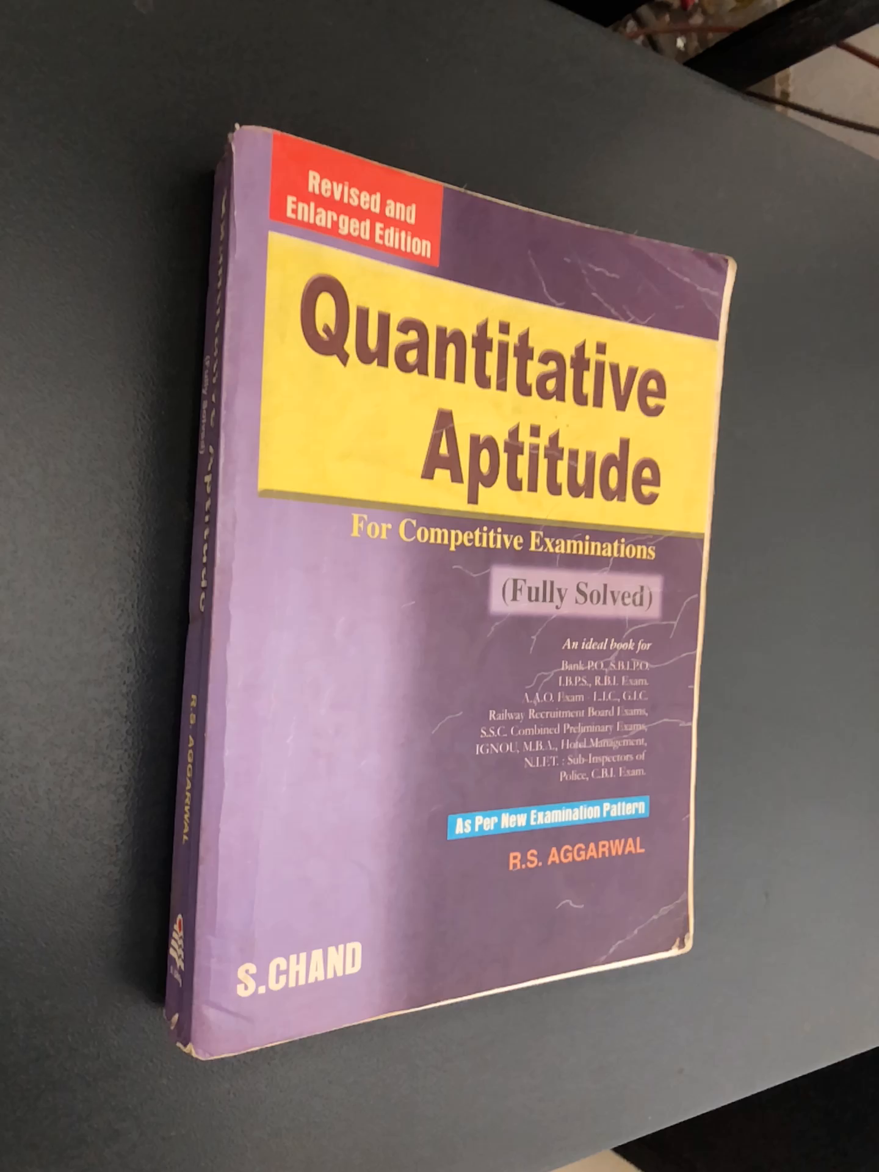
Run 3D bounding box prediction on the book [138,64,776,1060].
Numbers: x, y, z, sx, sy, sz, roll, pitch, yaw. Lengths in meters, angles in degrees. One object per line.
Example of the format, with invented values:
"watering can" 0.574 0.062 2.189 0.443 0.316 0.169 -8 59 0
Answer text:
"book" 0.015 -0.002 0.286 0.181 0.050 0.220 3 89 -33
